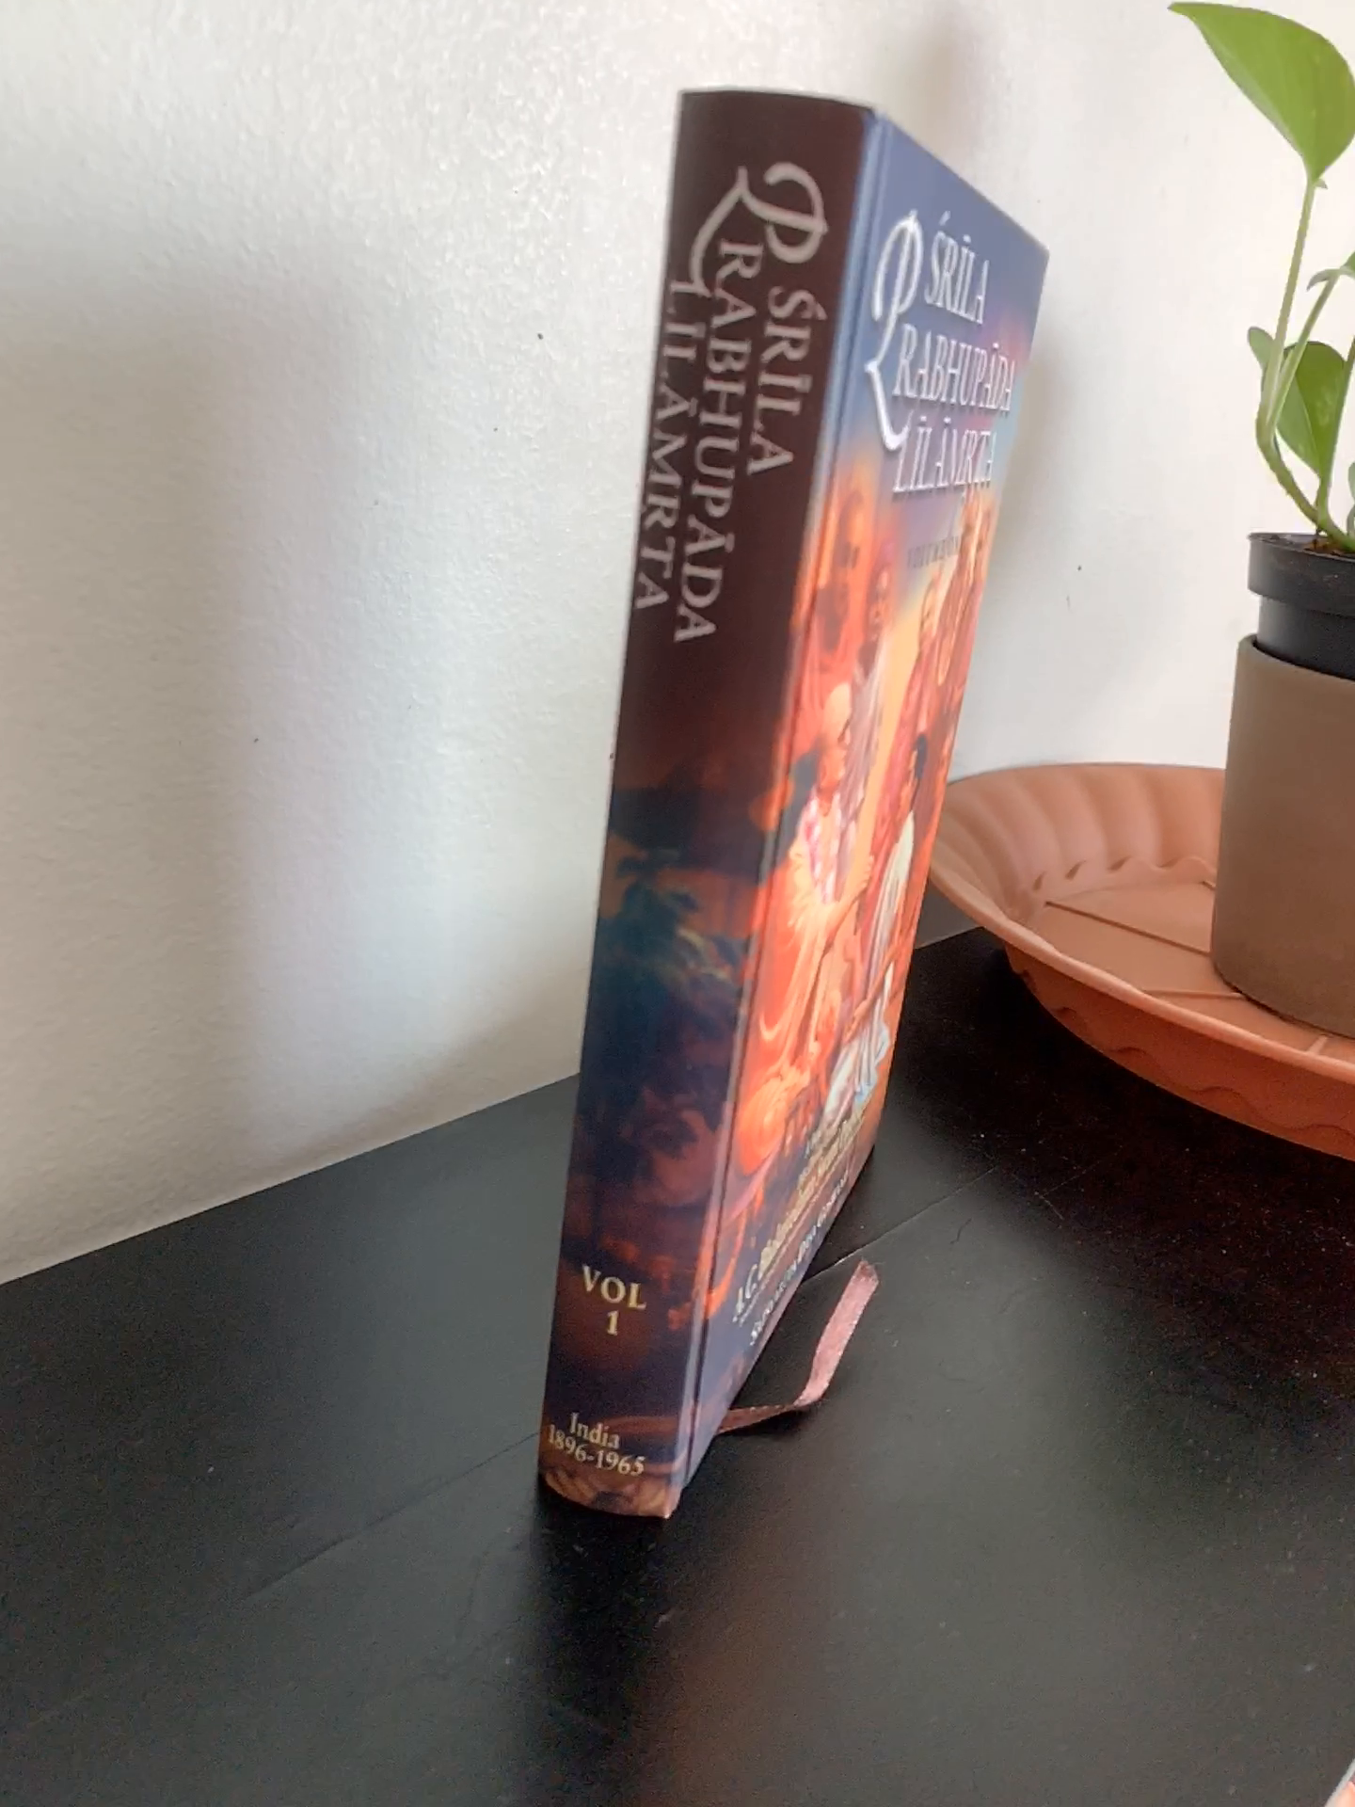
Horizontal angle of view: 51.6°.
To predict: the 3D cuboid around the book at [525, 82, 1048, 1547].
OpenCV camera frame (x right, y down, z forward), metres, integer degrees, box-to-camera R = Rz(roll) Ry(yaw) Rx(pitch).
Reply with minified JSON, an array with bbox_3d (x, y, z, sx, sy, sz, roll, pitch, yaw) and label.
[{"bbox_3d":[0.028,-0.019,0.292,0.030,0.233,0.162,13,20,18],"label":"book"}]
